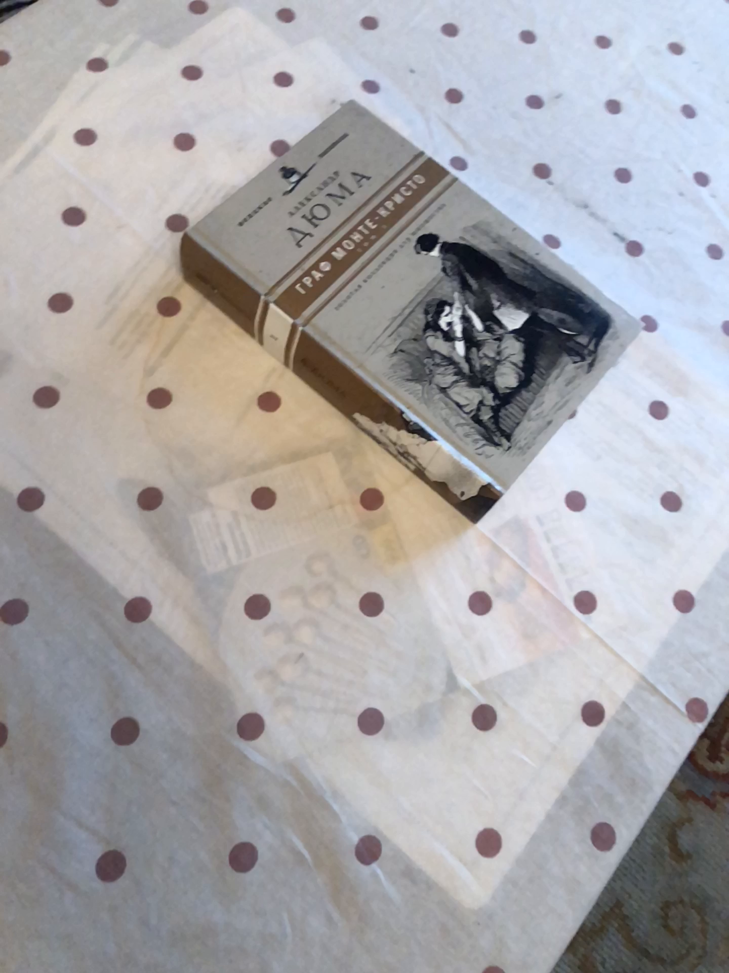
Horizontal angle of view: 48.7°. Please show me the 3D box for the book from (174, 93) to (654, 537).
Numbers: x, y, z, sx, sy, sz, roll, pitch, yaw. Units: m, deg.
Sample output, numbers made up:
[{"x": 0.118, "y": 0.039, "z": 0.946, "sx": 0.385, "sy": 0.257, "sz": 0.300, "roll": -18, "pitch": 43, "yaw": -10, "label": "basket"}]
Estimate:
[{"x": 0.026, "y": -0.094, "z": 0.423, "sx": 0.208, "sy": 0.040, "sz": 0.136, "roll": 40, "pitch": 69, "yaw": 6, "label": "book"}]
